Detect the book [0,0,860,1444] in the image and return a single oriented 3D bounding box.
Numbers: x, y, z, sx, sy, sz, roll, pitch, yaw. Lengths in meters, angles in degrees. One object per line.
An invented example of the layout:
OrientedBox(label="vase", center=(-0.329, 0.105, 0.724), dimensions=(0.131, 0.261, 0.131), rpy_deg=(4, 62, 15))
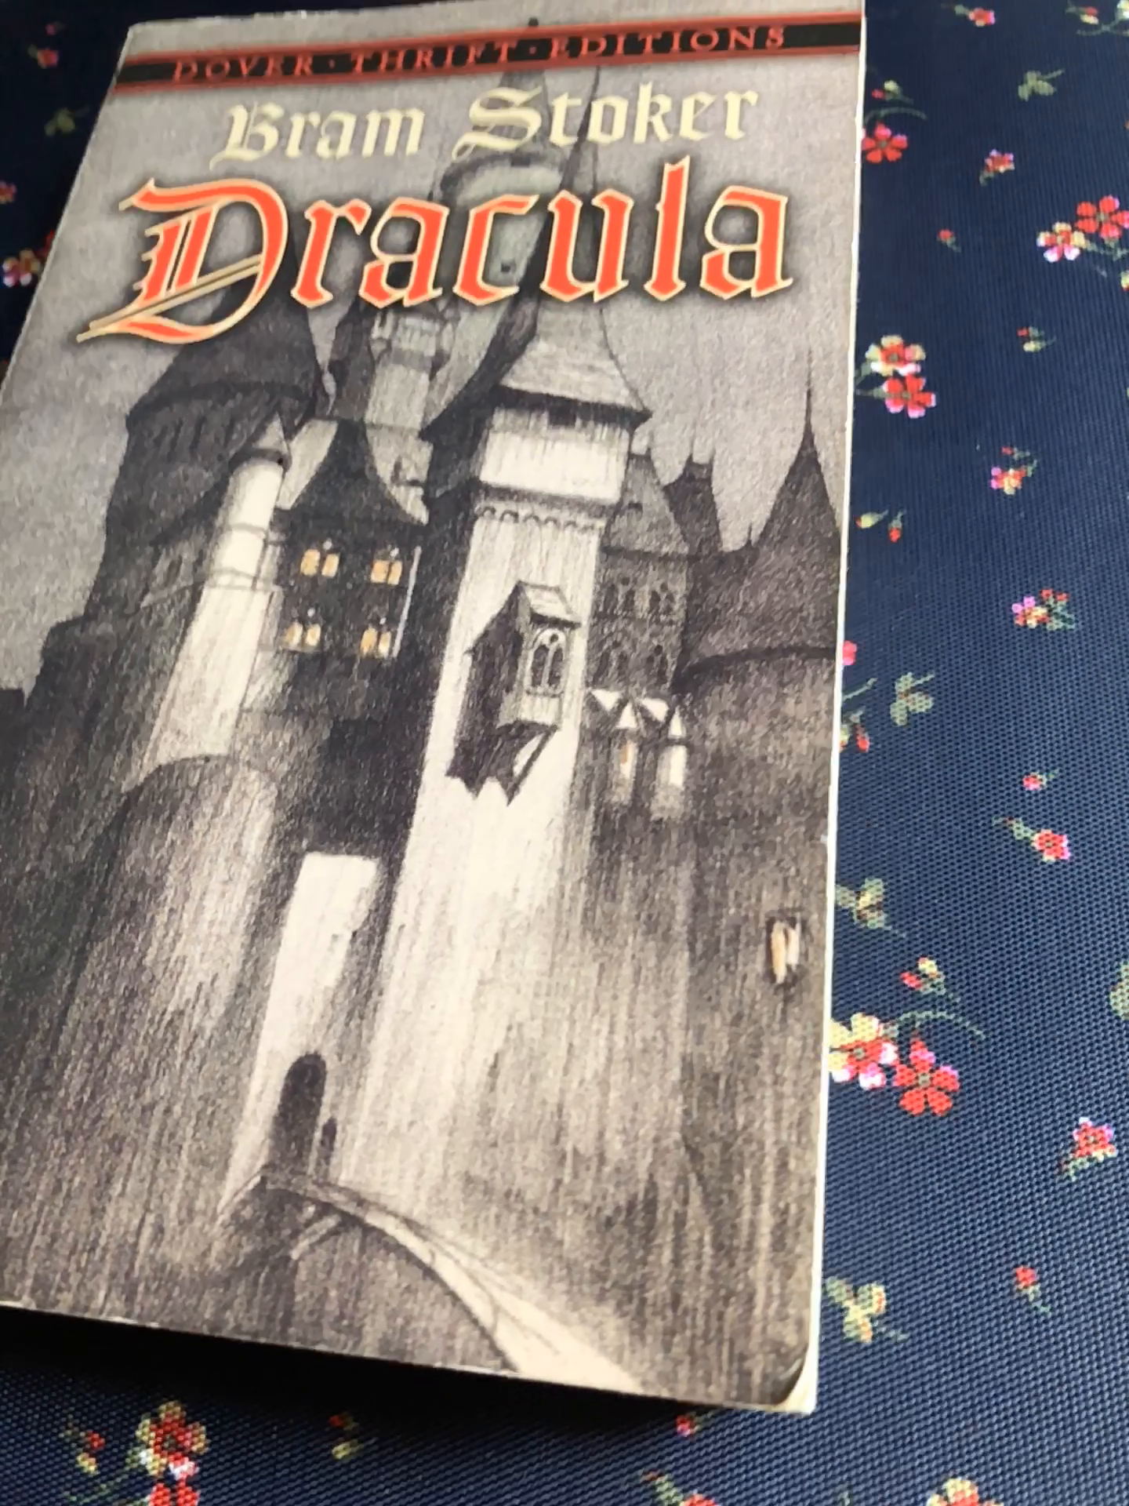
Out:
OrientedBox(label="book", center=(-0.026, -0.024, 0.184), dimensions=(0.130, 0.033, 0.203), rpy_deg=(2, 66, 10))
